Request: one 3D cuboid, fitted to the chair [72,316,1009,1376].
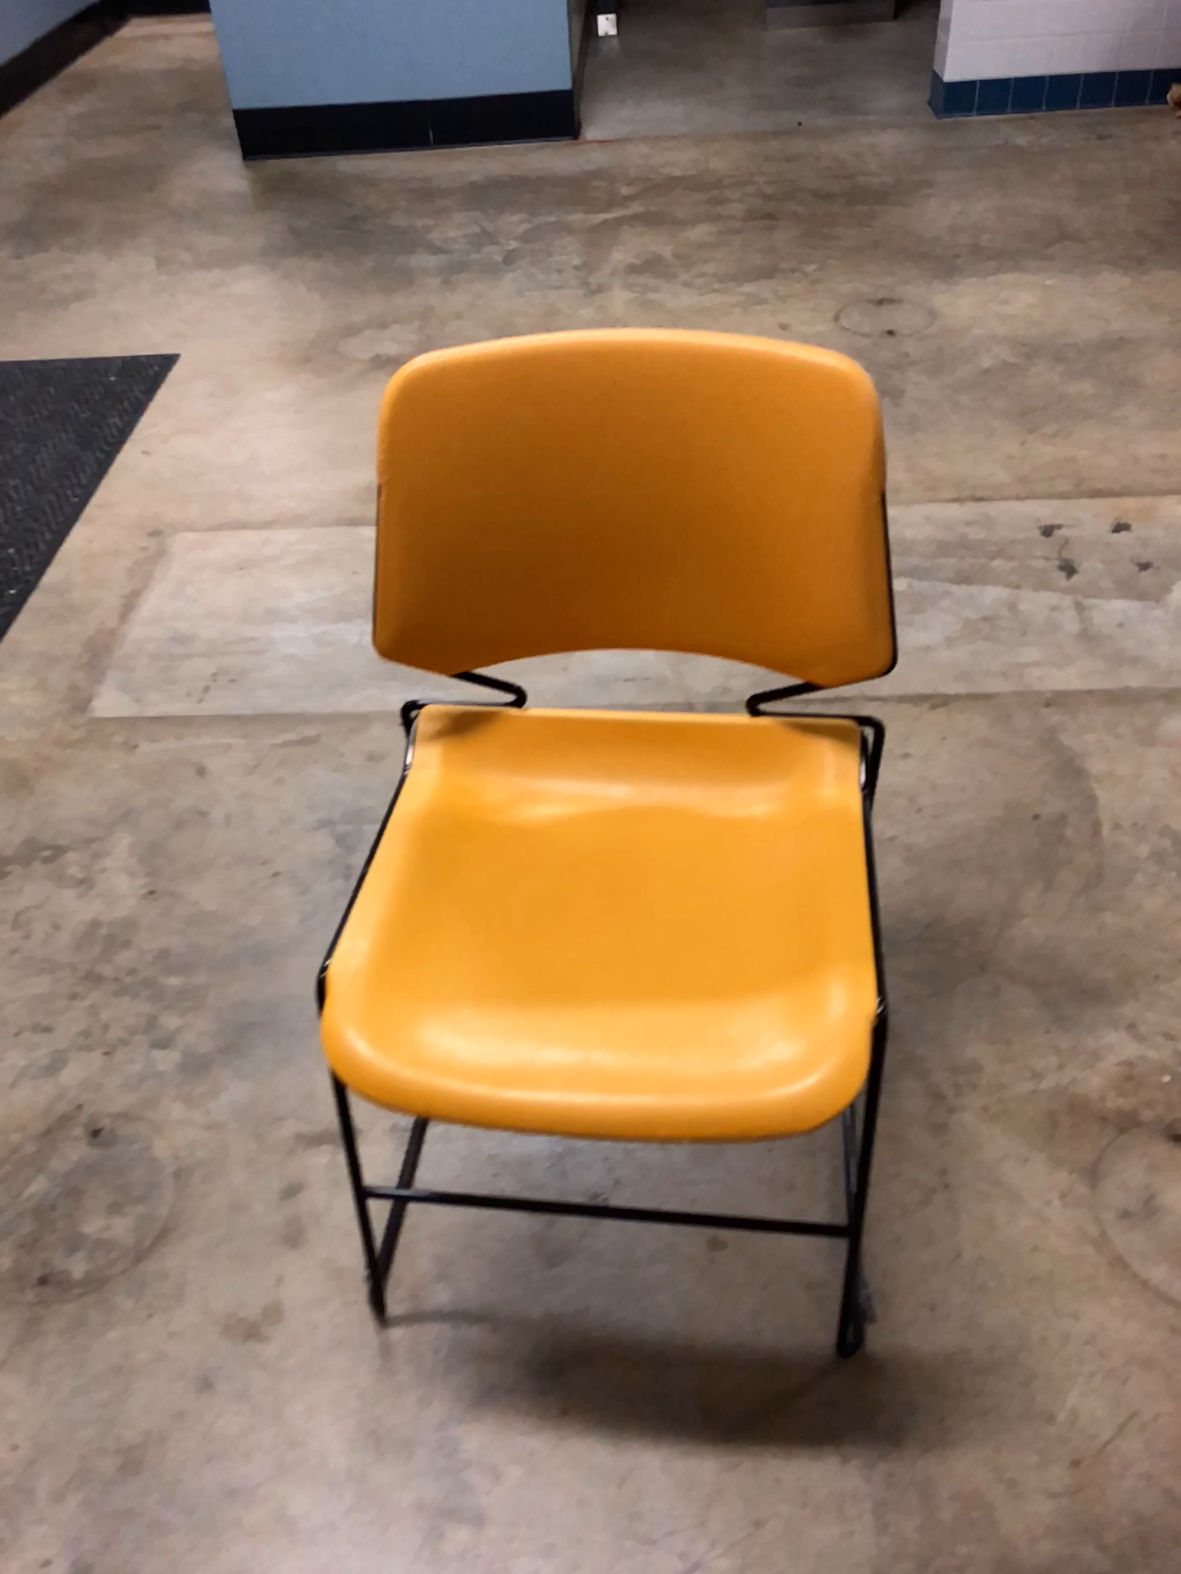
[{"bbox_3d":[0.014,0.073,1.179,0.529,0.796,0.526,1,42,7],"label":"chair"}]
